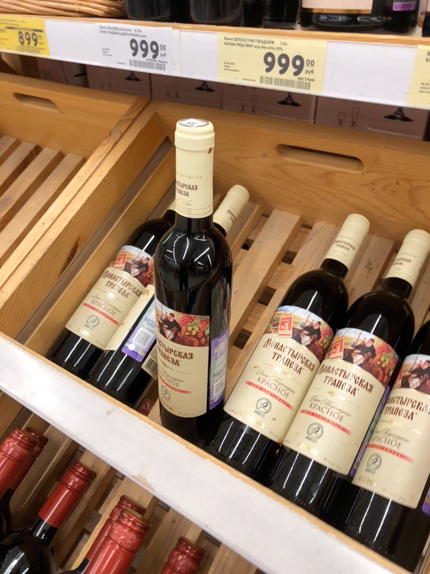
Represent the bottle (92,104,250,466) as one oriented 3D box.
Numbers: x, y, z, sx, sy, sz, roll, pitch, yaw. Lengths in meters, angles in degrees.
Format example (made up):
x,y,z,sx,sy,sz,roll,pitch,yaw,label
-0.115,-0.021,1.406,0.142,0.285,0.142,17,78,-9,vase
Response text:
x,y,z,sx,sy,sz,roll,pitch,yaw,label
-0.030,0.011,0.423,0.080,0.308,0.080,-1,32,0,bottle
